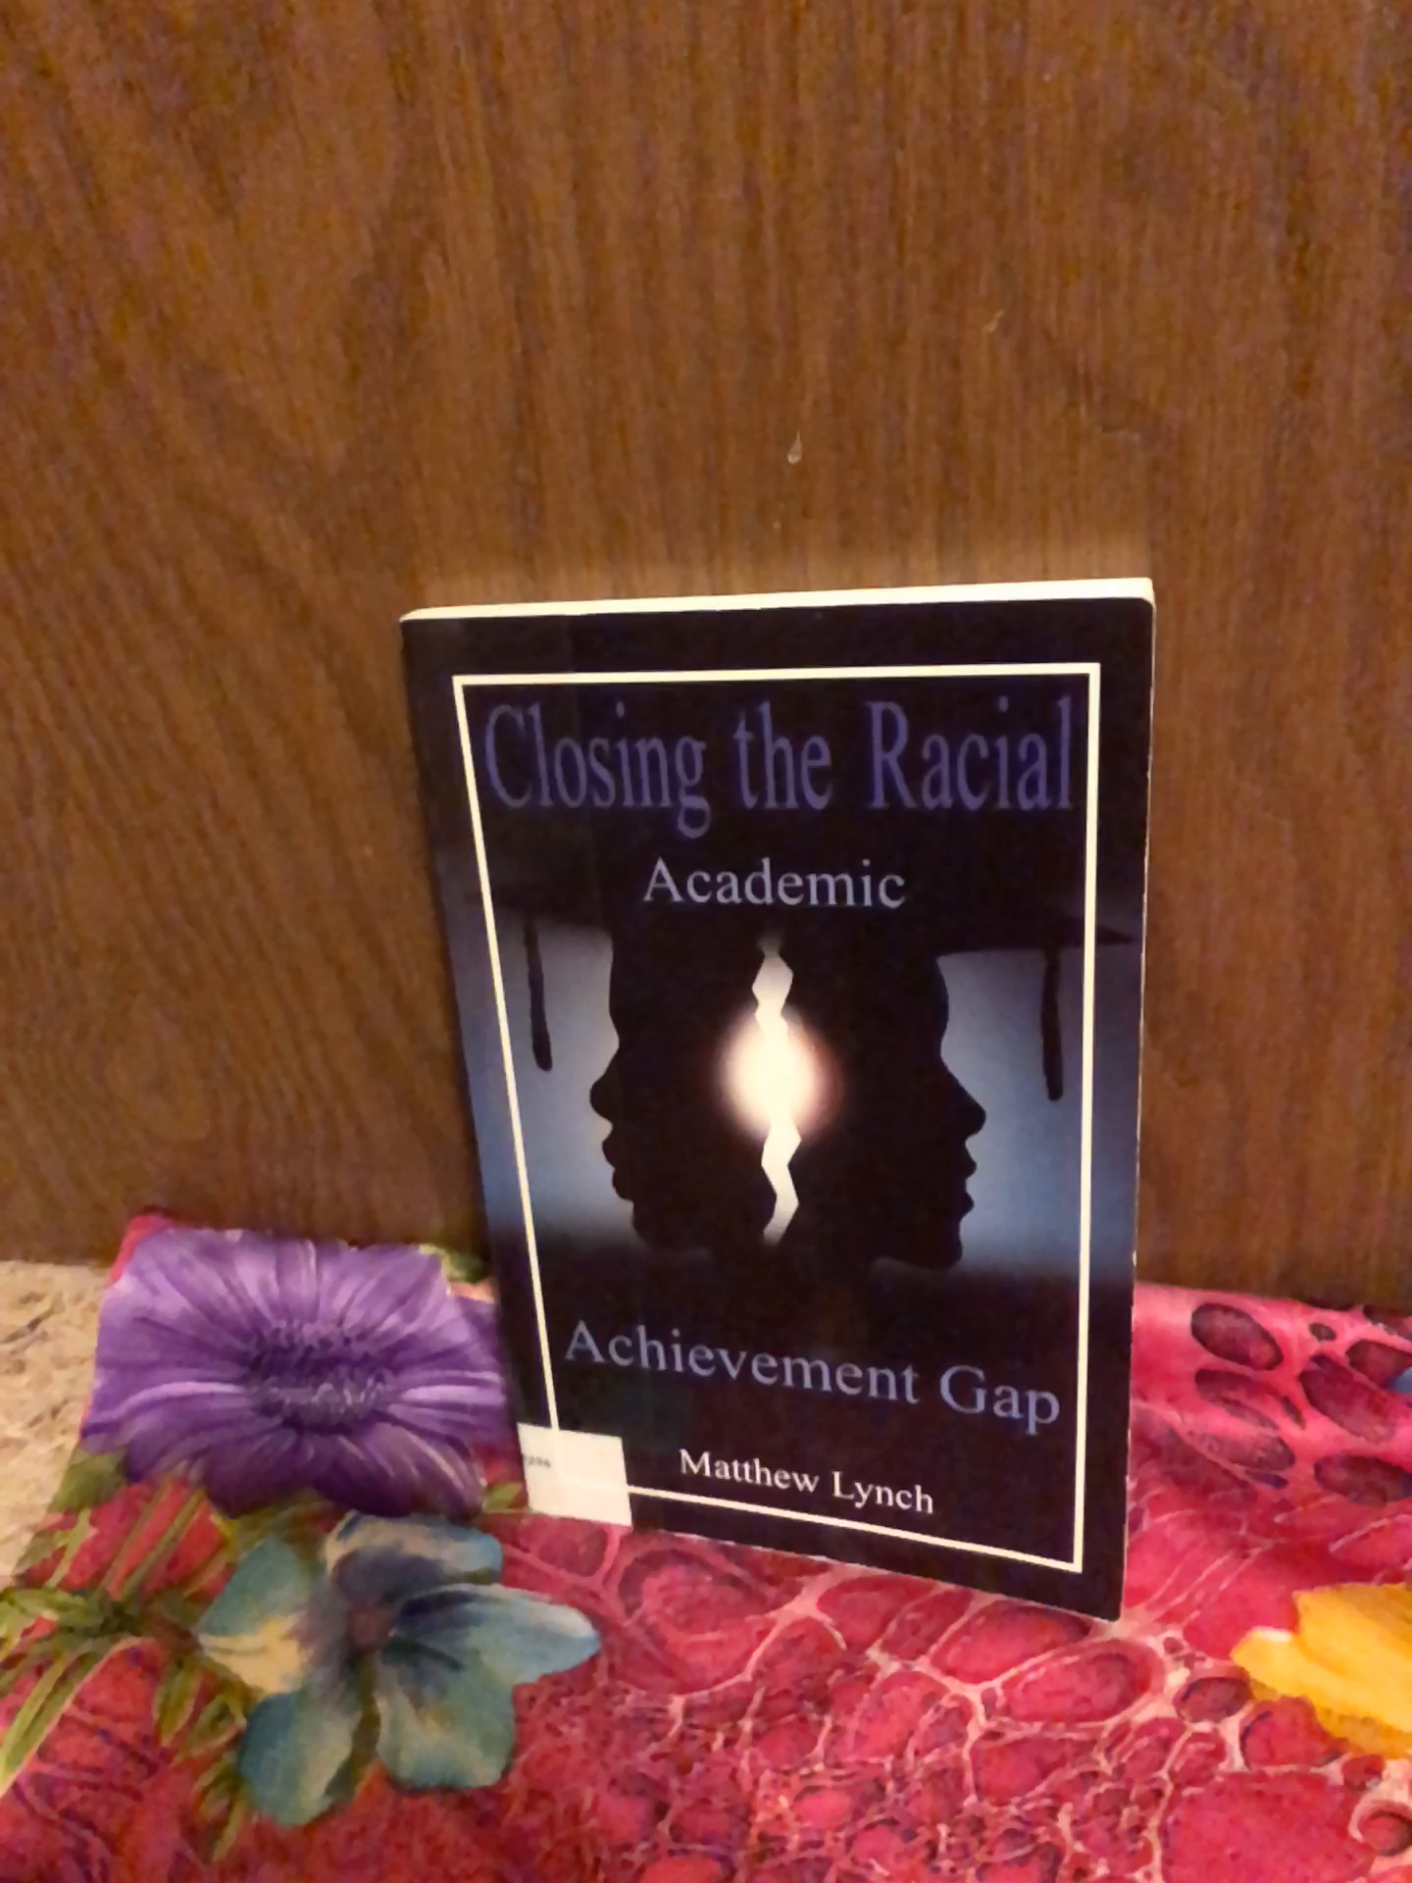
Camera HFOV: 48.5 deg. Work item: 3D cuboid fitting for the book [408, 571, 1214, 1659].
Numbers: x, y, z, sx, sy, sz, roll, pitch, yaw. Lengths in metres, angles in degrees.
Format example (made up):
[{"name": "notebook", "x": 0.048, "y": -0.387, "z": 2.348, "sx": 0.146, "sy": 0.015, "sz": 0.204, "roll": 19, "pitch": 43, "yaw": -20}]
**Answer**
[{"name": "book", "x": 0.027, "y": 0.042, "z": 0.337, "sx": 0.146, "sy": 0.230, "sz": 0.036, "roll": 2, "pitch": 24, "yaw": 17}]
